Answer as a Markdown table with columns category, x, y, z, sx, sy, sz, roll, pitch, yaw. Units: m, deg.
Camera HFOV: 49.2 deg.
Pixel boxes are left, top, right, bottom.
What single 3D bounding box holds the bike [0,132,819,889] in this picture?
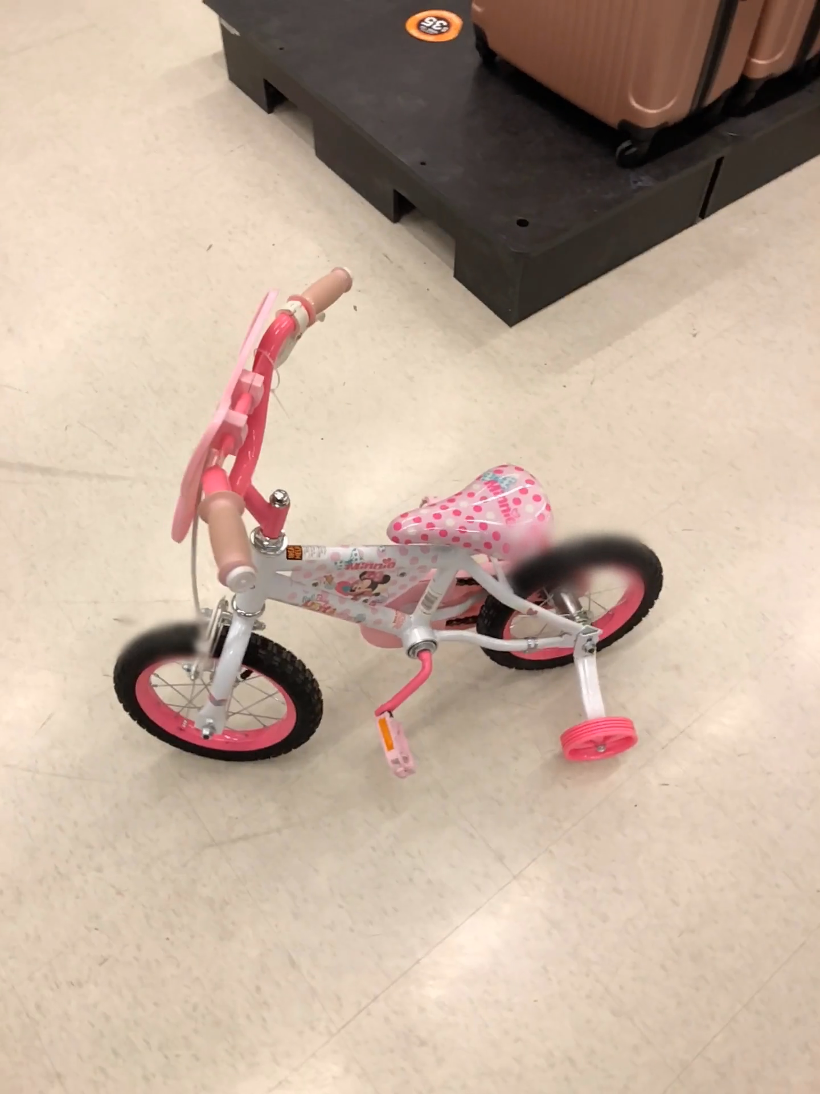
| category | x | y | z | sx | sy | sz | roll | pitch | yaw |
| --- | --- | --- | --- | --- | --- | --- | --- | --- | --- |
| bike | -0.014 | -0.003 | 1.117 | 0.773 | 0.681 | 0.512 | -11 | 58 | -7 |
